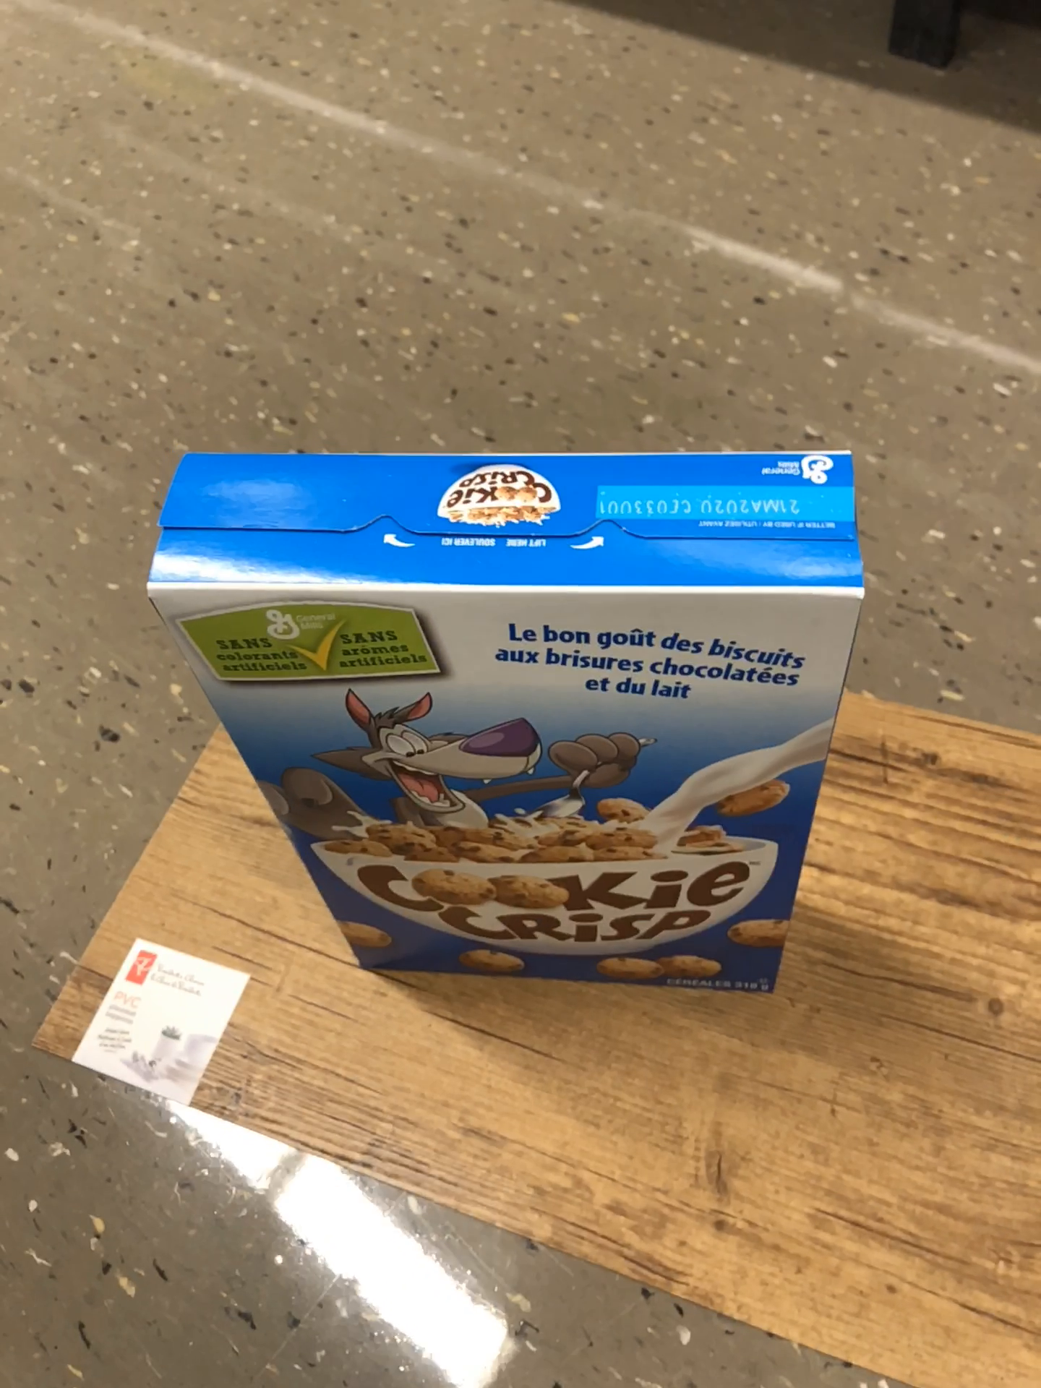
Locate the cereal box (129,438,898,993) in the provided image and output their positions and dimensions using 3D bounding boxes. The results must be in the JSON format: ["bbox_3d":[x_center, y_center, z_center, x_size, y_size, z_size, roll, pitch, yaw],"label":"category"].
[{"bbox_3d":[0.010,0.028,0.426,0.200,0.269,0.060,1,56,8],"label":"cereal box"}]
